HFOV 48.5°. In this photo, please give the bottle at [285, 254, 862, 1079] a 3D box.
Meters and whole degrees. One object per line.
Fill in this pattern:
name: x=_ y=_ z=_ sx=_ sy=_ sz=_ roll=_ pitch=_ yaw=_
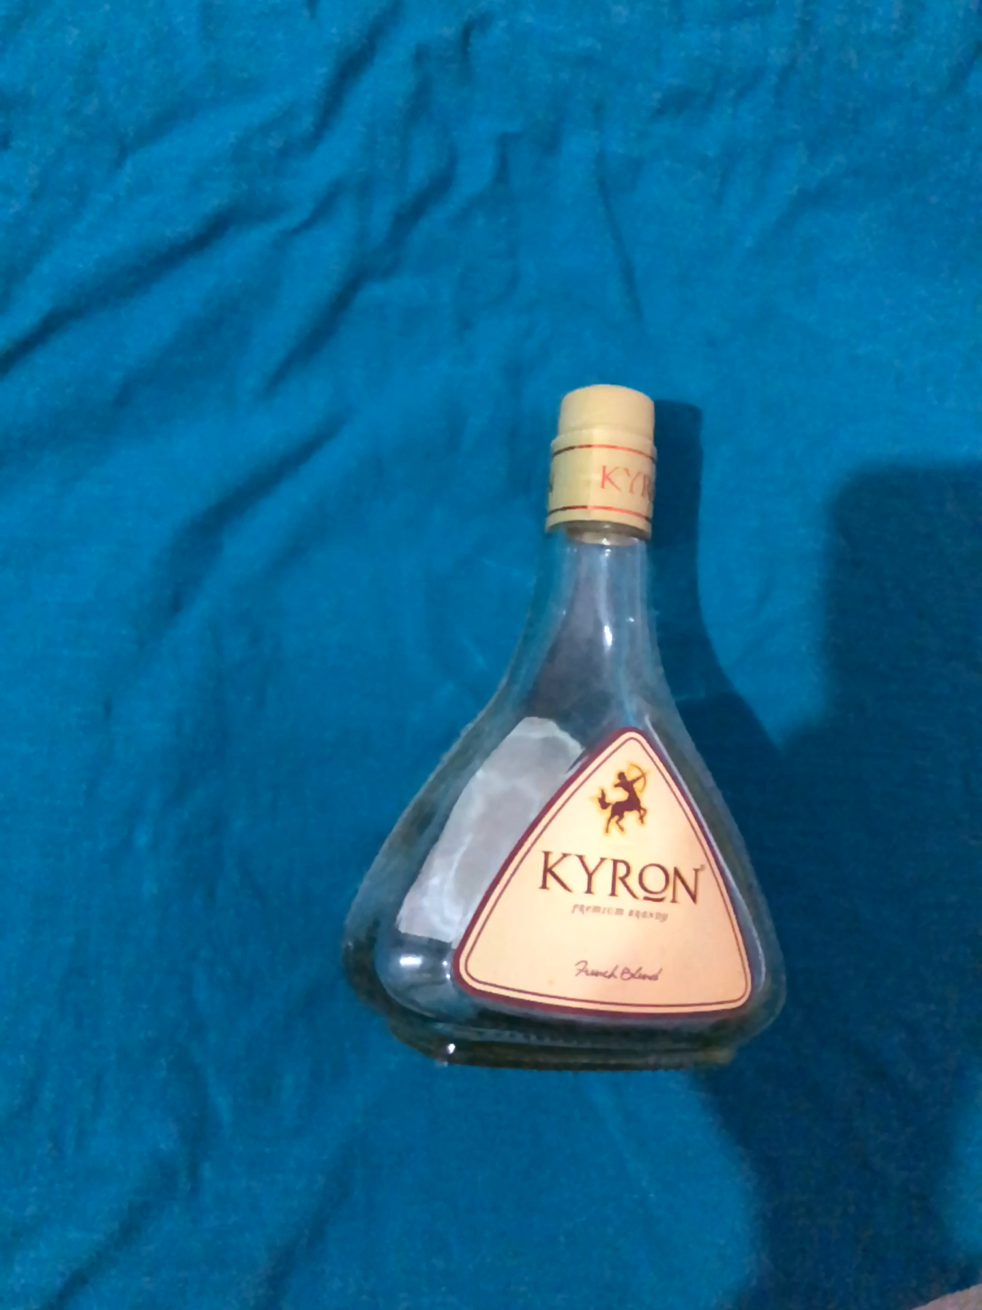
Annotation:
bottle: x=0.021 y=0.008 z=0.284 sx=0.120 sy=0.060 sz=0.180 roll=7 pitch=85 yaw=-19
